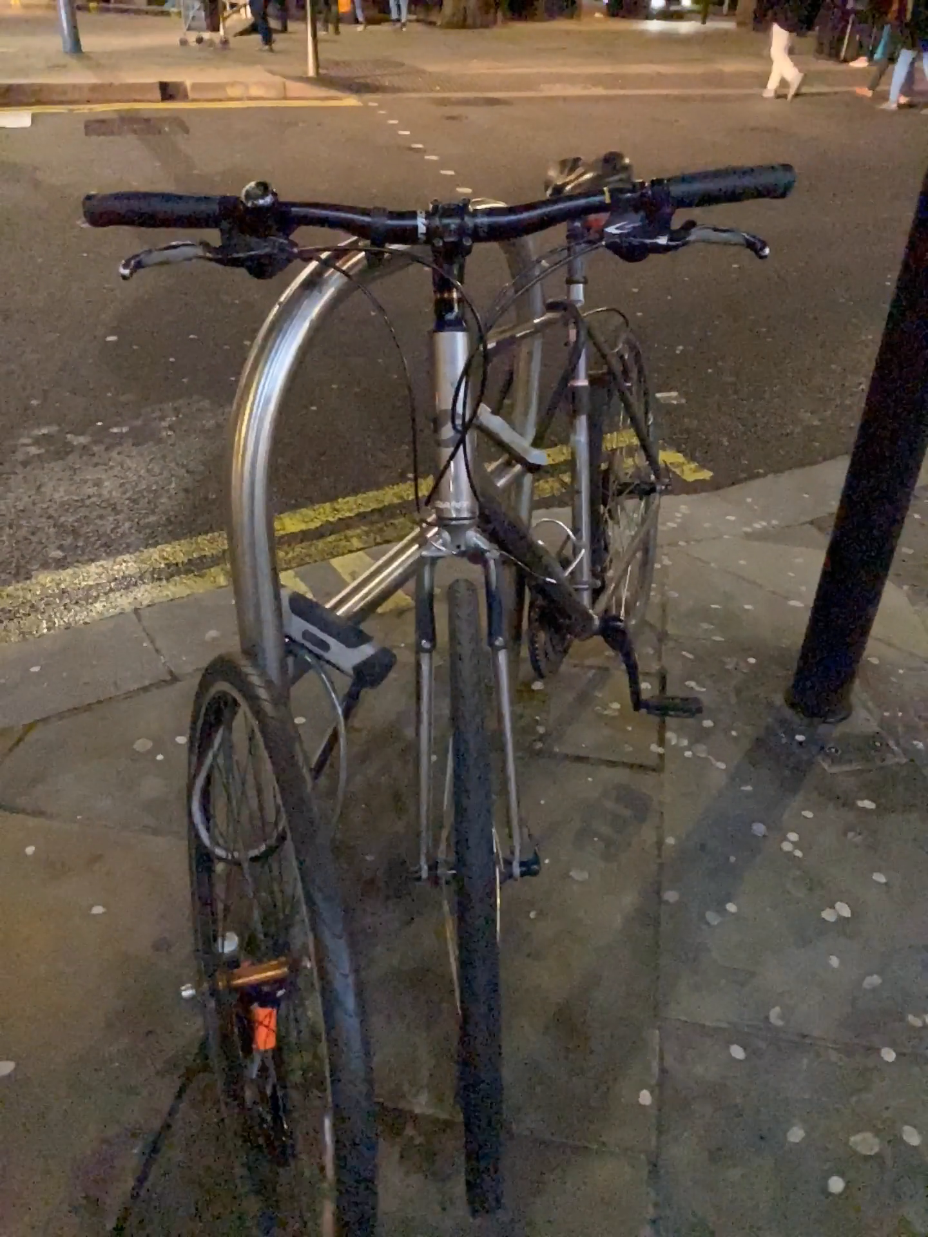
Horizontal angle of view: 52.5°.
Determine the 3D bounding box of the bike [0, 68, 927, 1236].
[{"bbox_3d":[0.070,-0.179,1.506,0.708,1.124,1.830,9,34,11],"label":"bike"}]
